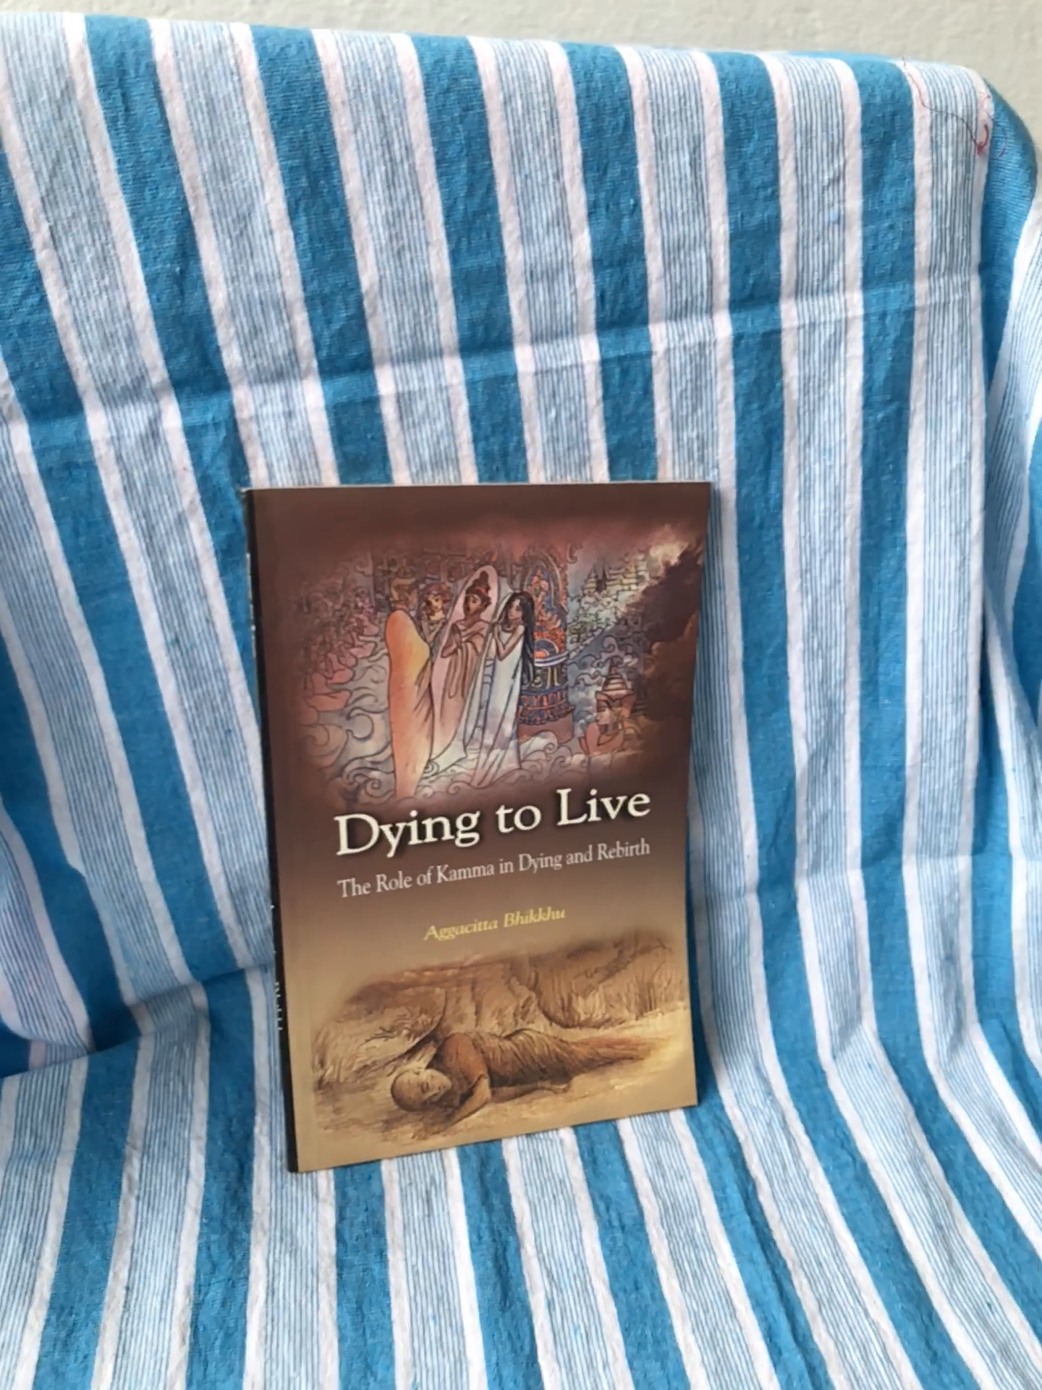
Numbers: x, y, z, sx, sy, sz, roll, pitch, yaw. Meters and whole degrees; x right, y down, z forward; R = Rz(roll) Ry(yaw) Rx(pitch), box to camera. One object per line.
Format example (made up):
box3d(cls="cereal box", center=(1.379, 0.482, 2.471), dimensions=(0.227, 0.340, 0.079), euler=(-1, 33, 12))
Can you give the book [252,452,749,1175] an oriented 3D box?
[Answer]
box3d(cls="book", center=(-0.003, 0.033, 0.363), dimensions=(0.150, 0.210, 0.020), euler=(-3, 8, -18))
